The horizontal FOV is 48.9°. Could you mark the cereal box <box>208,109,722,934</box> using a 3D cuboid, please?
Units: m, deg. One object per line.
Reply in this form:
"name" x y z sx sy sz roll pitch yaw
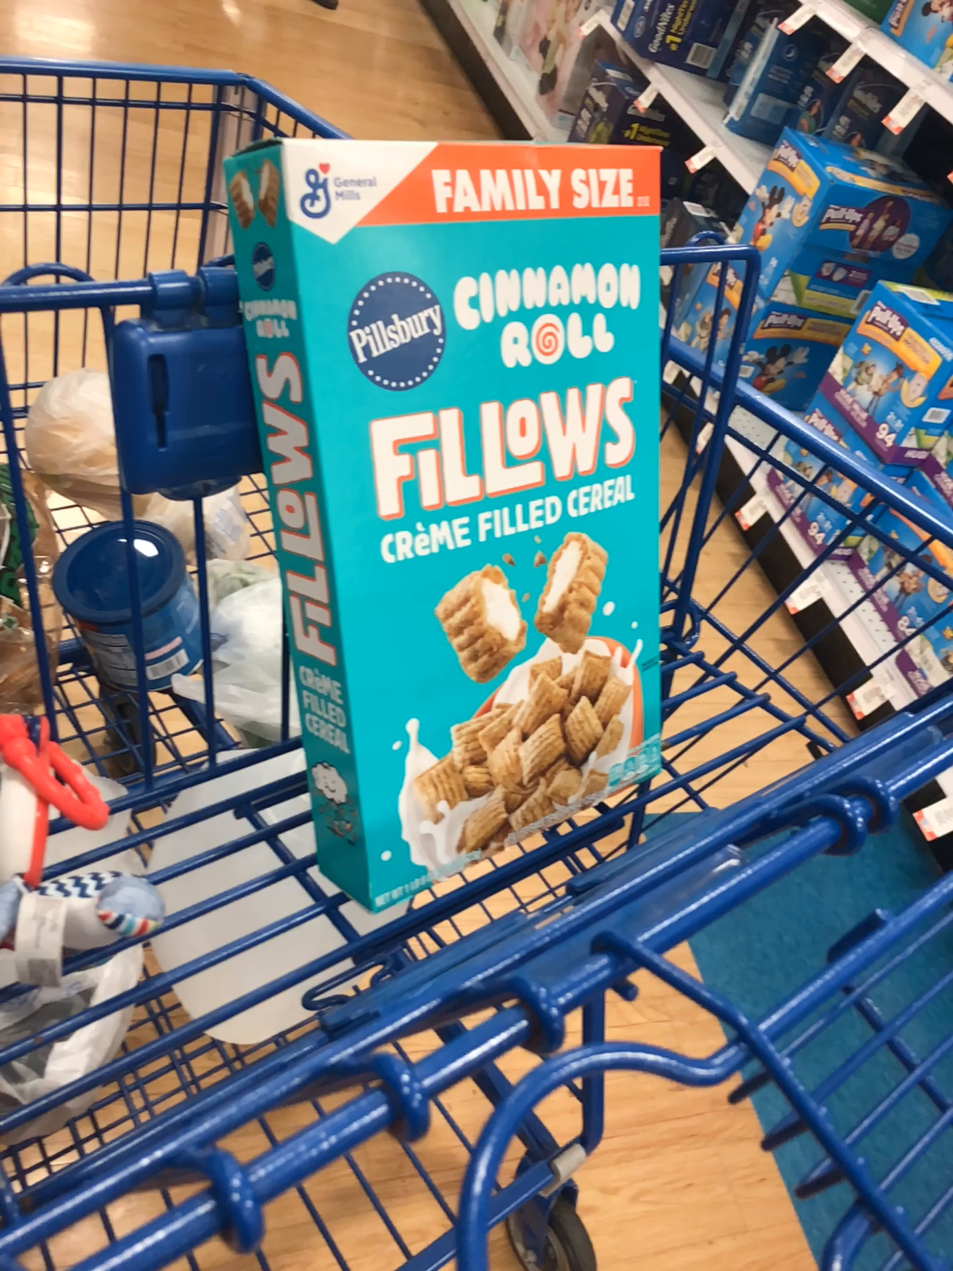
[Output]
"cereal box" 0.016 -0.054 0.450 0.211 0.290 0.060 -18 22 -38
